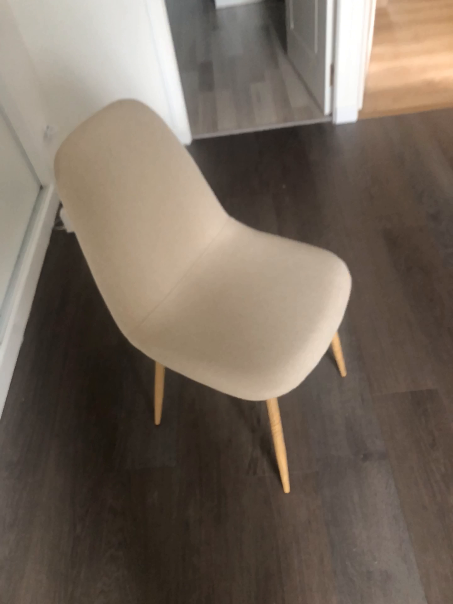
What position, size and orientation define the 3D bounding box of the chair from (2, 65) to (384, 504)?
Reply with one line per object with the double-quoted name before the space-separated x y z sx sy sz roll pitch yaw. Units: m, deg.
"chair" -0.001 0.002 1.165 0.500 0.846 0.432 21 55 25
